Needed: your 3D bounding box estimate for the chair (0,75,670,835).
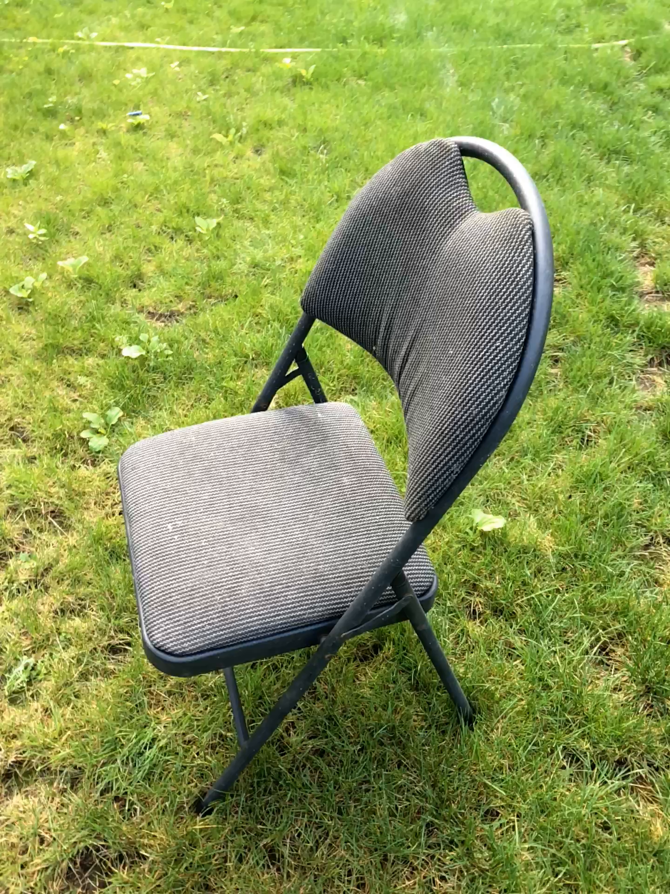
[{"bbox_3d":[-0.040,0.040,1.013,0.570,0.815,0.533,-12,47,-11],"label":"chair"}]
